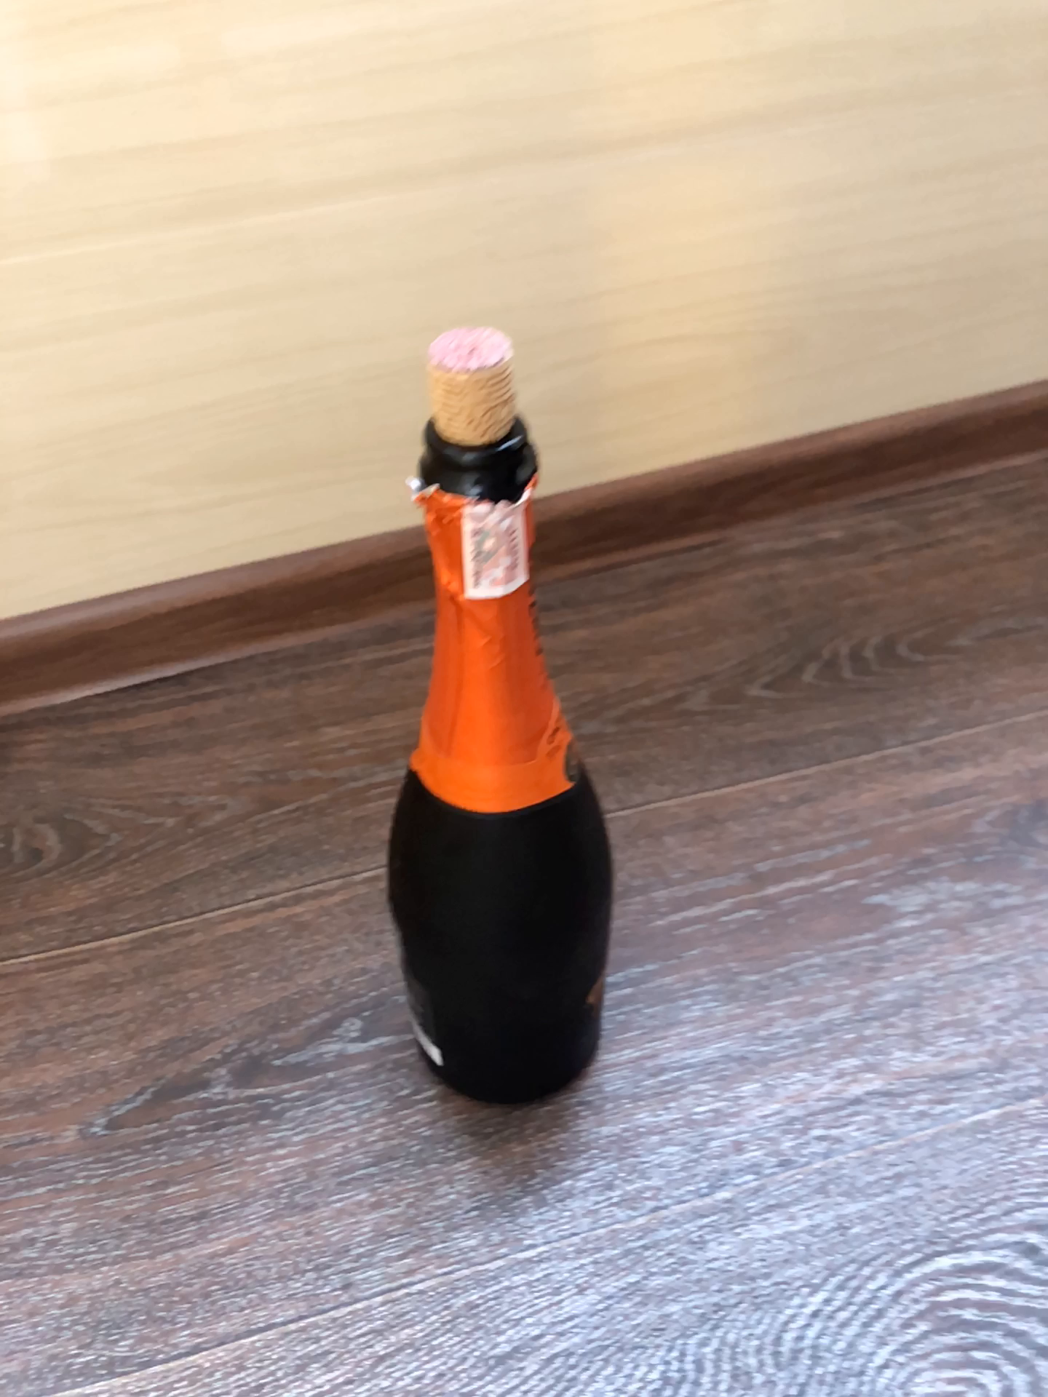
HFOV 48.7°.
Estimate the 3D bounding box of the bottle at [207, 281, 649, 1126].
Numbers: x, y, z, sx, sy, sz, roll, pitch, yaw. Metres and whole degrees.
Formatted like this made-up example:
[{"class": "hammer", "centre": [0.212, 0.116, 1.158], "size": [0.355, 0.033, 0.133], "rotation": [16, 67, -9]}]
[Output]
[{"class": "bottle", "centre": [-0.012, 0.030, 0.415], "size": [0.100, 0.328, 0.093], "rotation": [-2, 44, 2]}]
